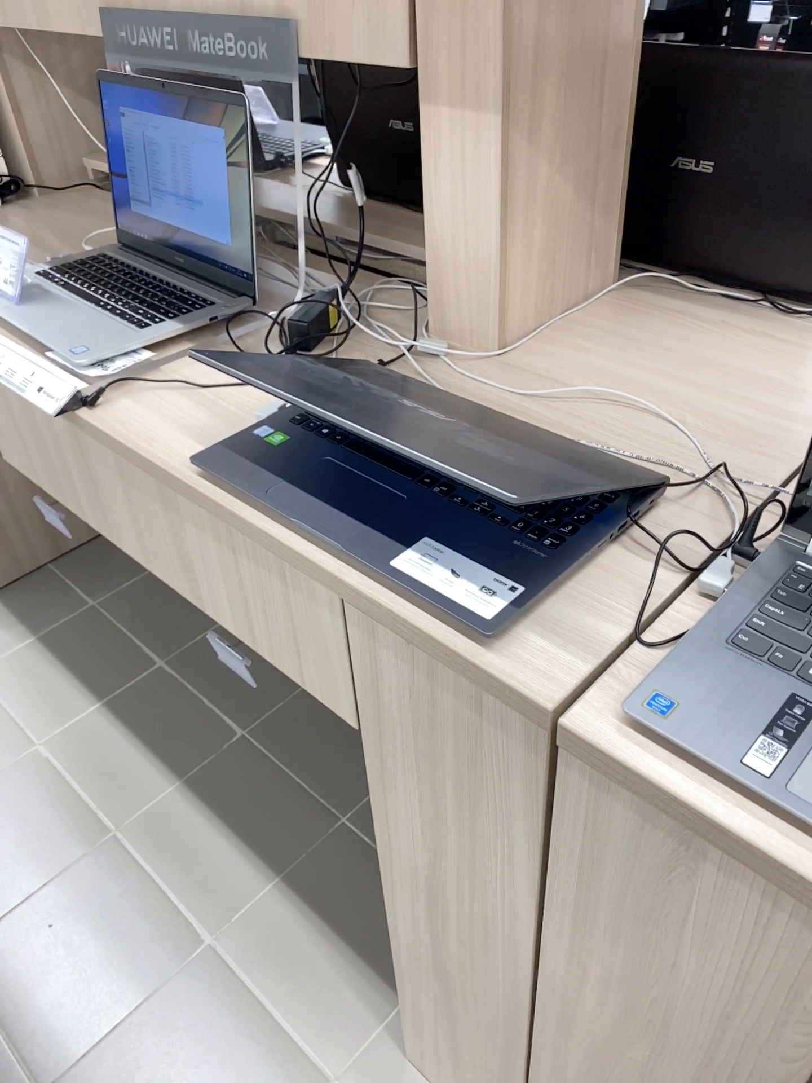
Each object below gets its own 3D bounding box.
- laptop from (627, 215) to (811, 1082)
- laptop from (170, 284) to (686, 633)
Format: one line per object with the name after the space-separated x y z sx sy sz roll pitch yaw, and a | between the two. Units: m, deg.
0.348 0.017 0.413 0.353 0.222 0.259 28 48 34 | laptop
0.008 -0.099 0.699 0.356 0.097 0.230 29 47 35 | laptop
